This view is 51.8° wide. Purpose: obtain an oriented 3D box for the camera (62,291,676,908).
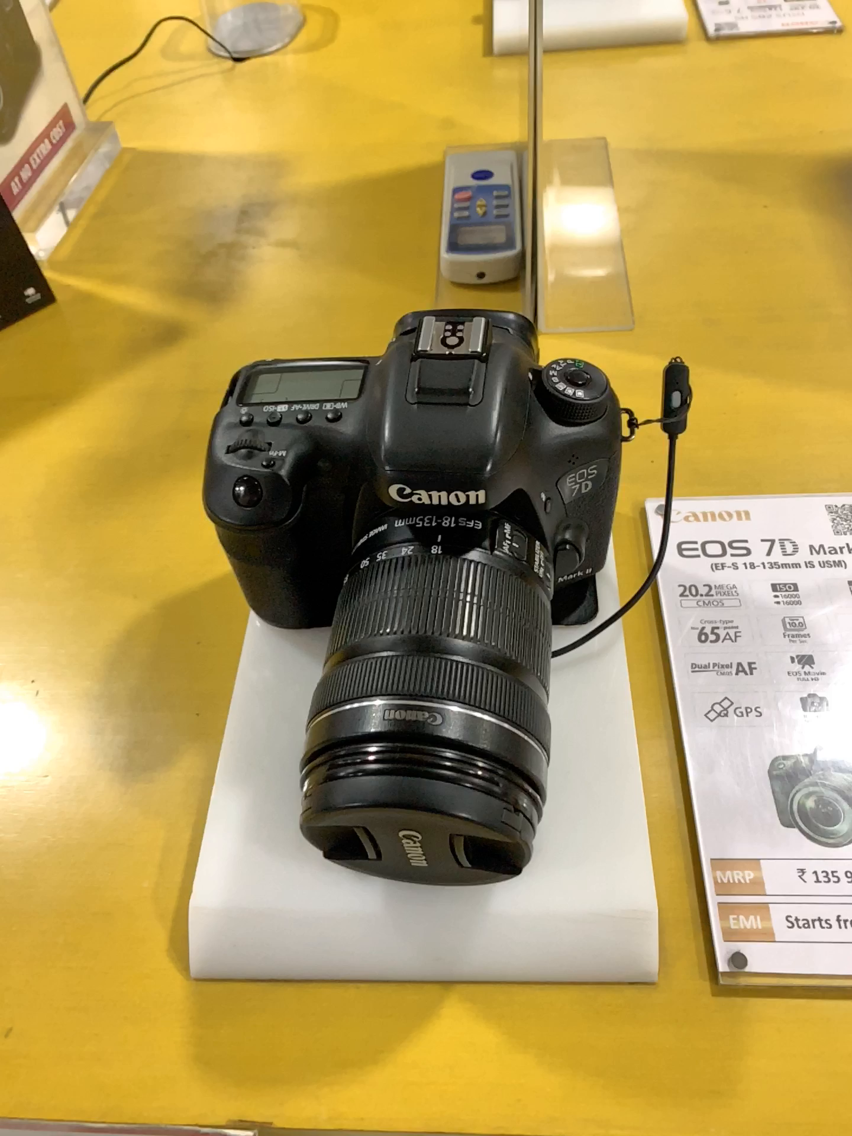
[{"bbox_3d":[-0.004,0.008,0.293,0.140,0.120,0.160,2,52,7],"label":"camera"}]
